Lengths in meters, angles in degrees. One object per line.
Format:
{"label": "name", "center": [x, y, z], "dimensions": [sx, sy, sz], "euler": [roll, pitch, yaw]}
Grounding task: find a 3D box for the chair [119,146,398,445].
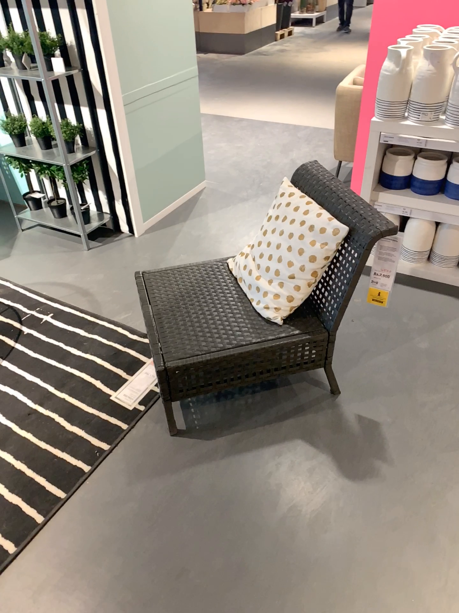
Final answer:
{"label": "chair", "center": [0.053, -0.078, 1.841], "dimensions": [0.780, 0.797, 0.703], "euler": [-11, 38, -11]}
